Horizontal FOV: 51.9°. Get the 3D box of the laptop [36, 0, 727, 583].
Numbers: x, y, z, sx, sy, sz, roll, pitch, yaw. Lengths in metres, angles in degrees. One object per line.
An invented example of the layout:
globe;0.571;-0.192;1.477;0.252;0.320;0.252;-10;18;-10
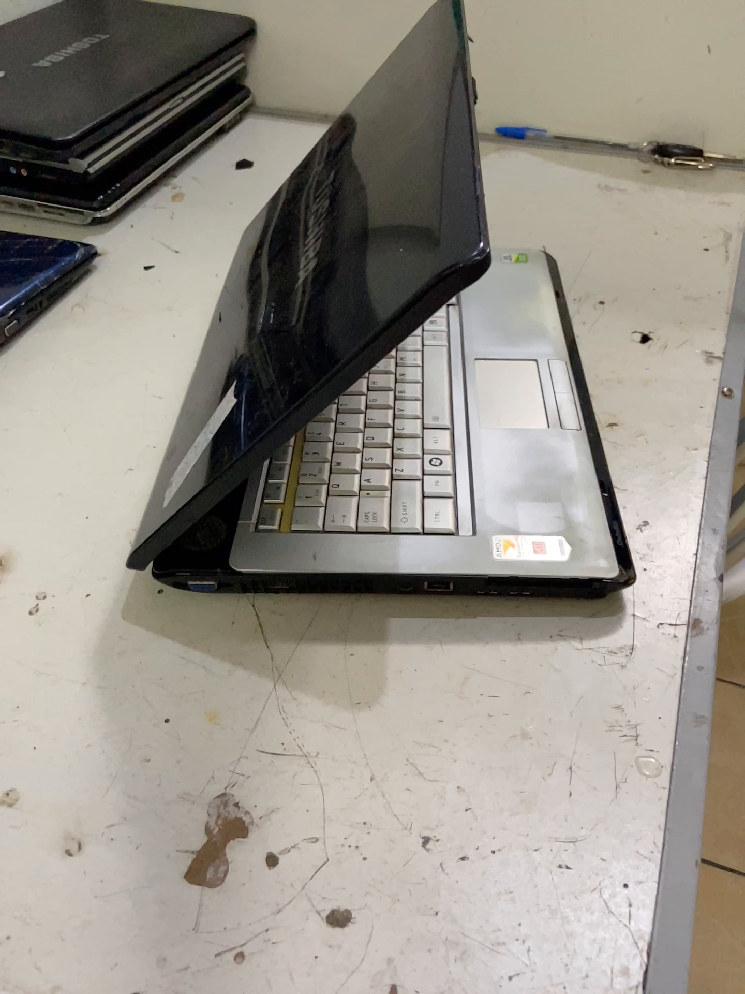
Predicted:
laptop;0.013;-0.151;0.473;0.256;0.185;0.358;1;46;2
